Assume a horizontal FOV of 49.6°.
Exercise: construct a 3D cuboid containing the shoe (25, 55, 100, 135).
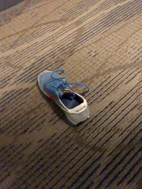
[{"bbox_3d":[-0.034,-0.008,0.518,0.101,0.095,0.260,-35,60,-16],"label":"shoe"}]
